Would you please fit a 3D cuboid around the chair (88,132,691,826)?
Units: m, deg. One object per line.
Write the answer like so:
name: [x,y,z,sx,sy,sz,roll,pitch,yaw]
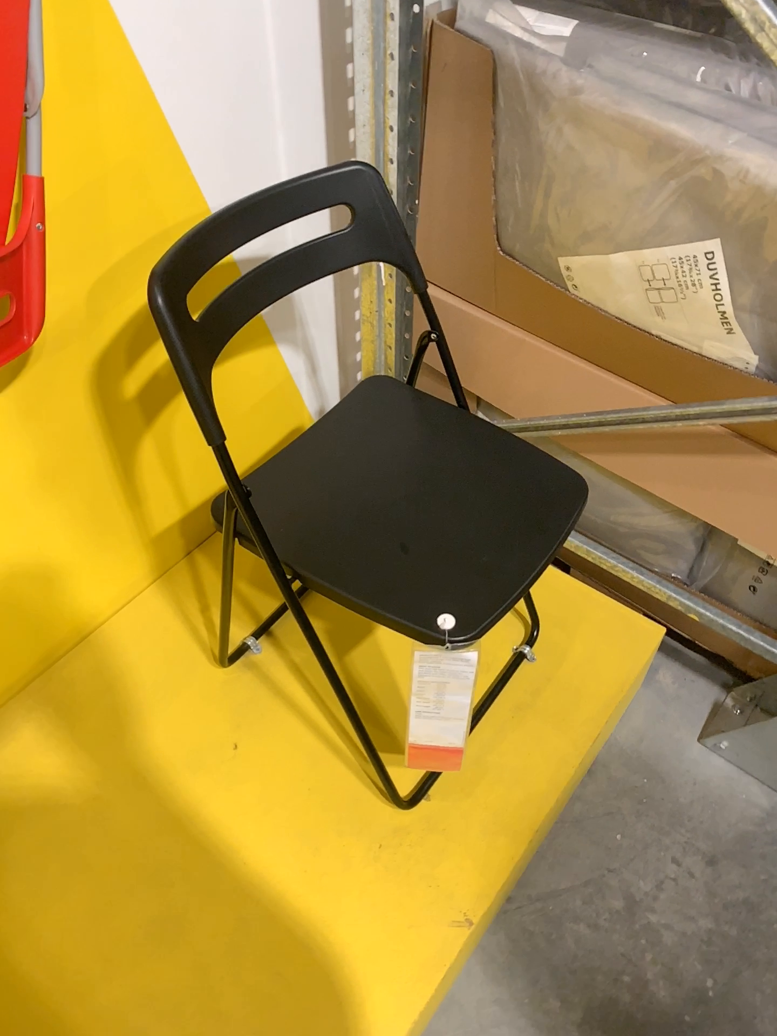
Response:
chair: [0.011,-0.033,1.063,0.441,0.697,0.441,29,53,24]
